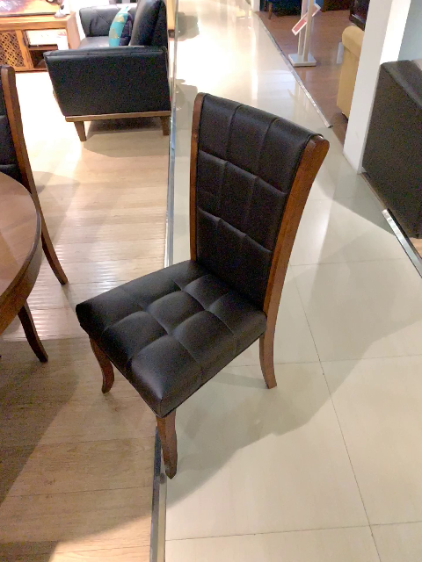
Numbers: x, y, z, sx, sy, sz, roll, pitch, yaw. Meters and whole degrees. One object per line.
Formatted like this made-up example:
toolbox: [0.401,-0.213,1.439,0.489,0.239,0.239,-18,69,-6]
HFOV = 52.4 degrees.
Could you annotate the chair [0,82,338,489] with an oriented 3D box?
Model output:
chair: [-0.095,0.020,1.294,0.600,0.936,0.532,-31,48,-28]
